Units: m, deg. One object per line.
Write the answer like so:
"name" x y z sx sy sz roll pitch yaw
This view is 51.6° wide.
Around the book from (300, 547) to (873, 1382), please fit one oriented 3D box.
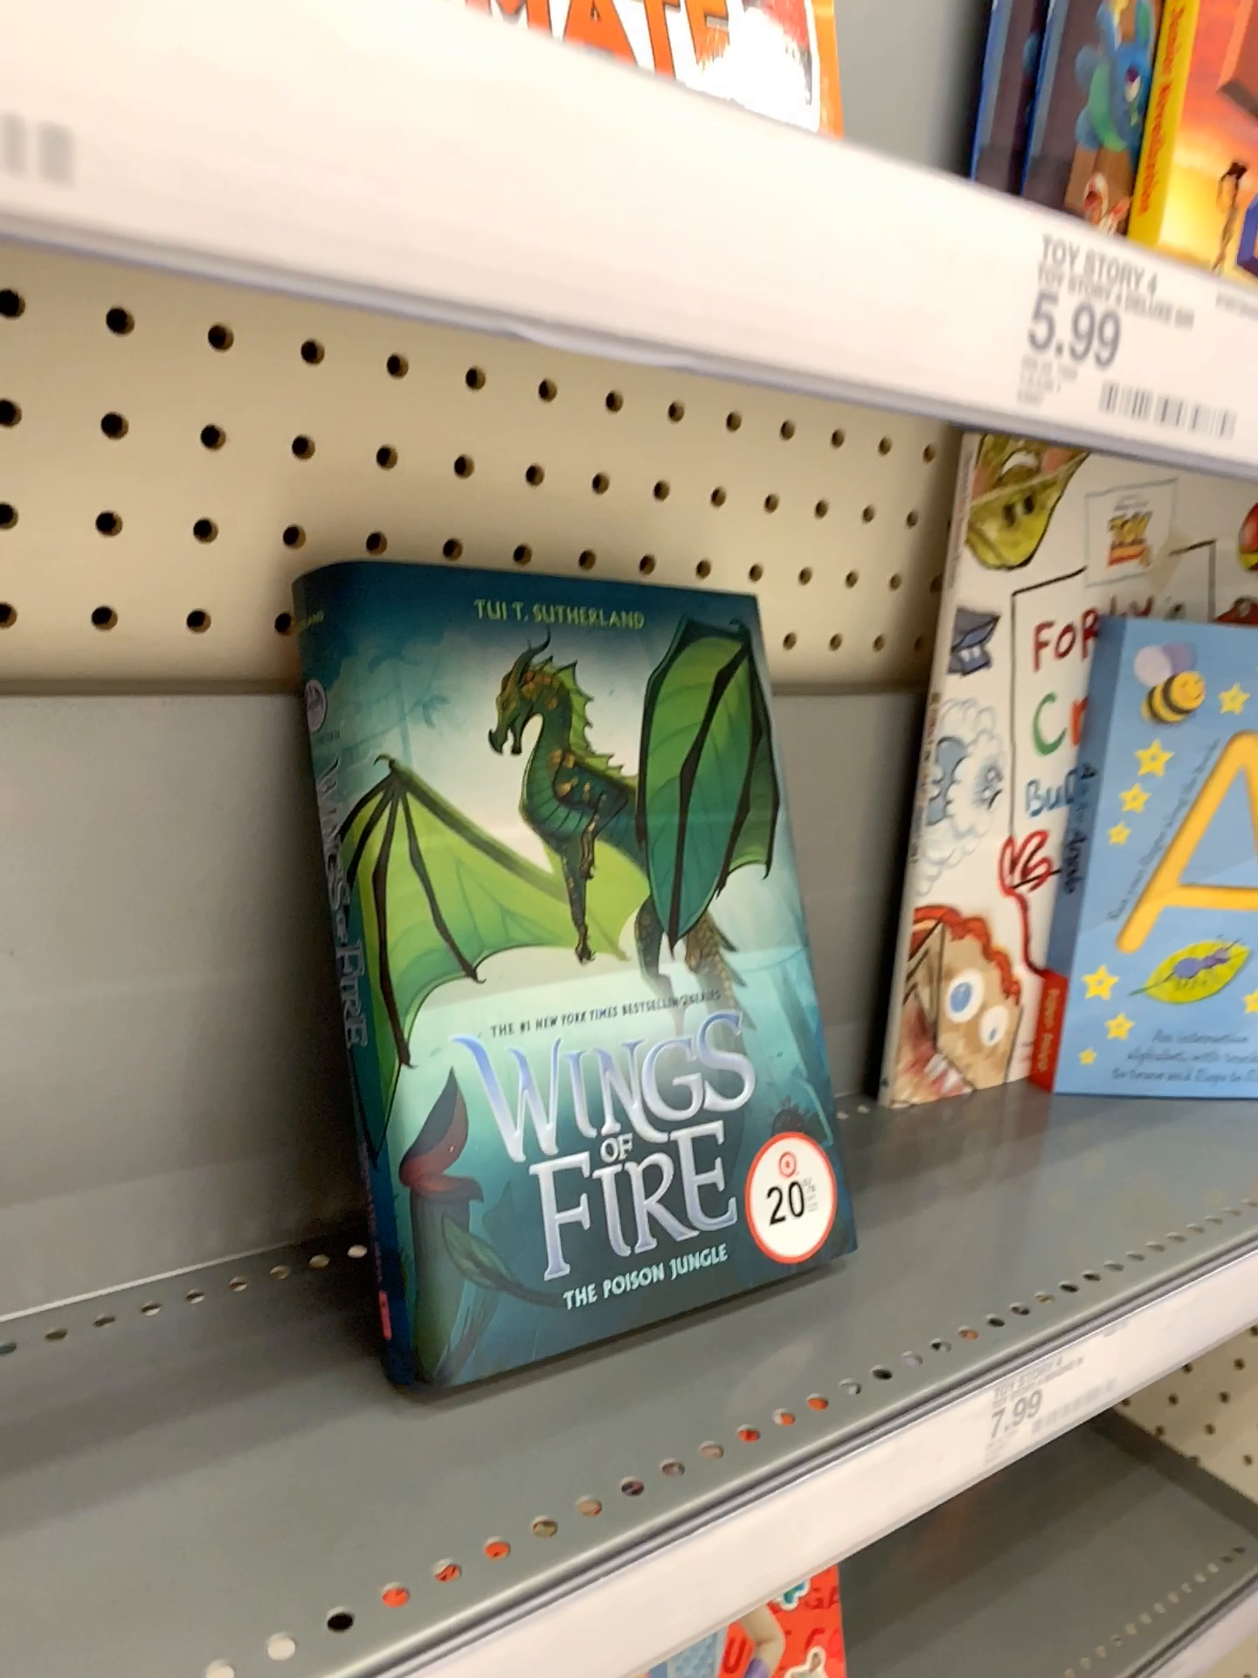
"book" -0.009 0.027 0.391 0.150 0.215 0.036 -4 -7 -36
